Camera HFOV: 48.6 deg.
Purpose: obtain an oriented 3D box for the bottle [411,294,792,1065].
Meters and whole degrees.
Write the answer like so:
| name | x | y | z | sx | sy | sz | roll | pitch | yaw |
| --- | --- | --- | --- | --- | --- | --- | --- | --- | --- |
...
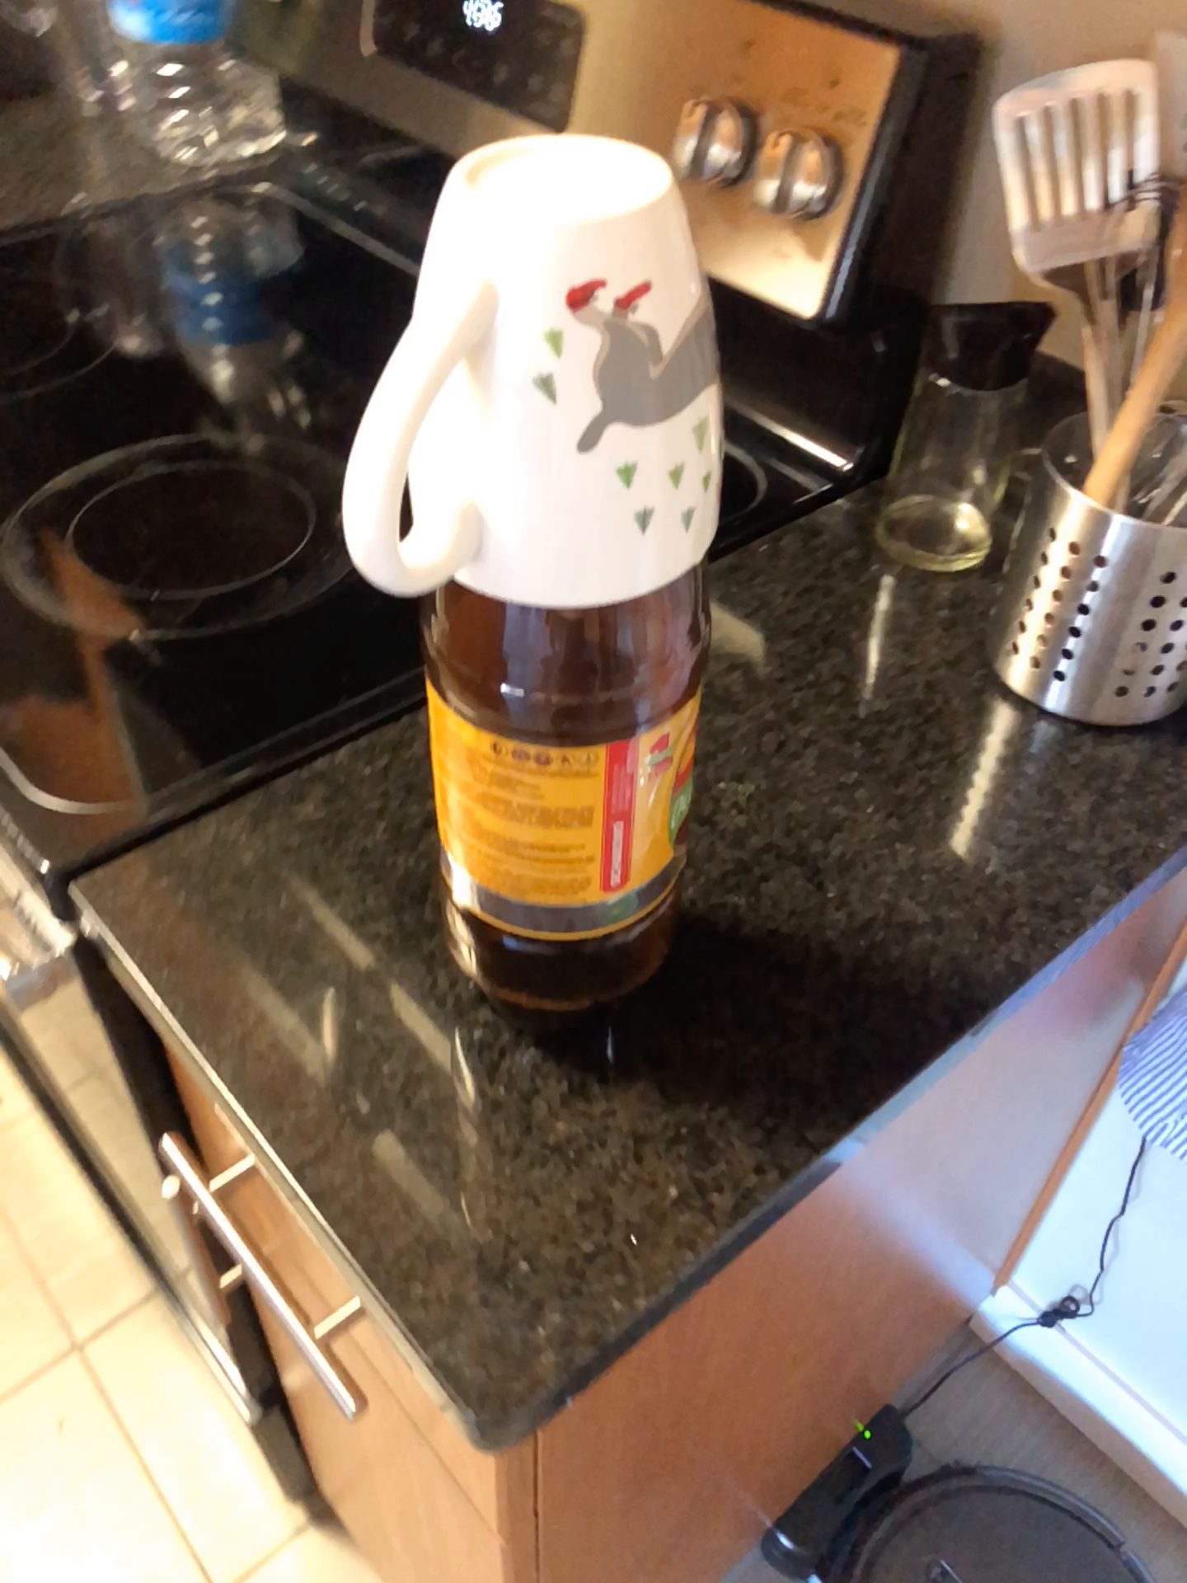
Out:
| name | x | y | z | sx | sy | sz | roll | pitch | yaw |
| --- | --- | --- | --- | --- | --- | --- | --- | --- | --- |
| bottle | -0.006 | -0.026 | 0.491 | 0.100 | 0.279 | 0.100 | 1 | 44 | -1 |
